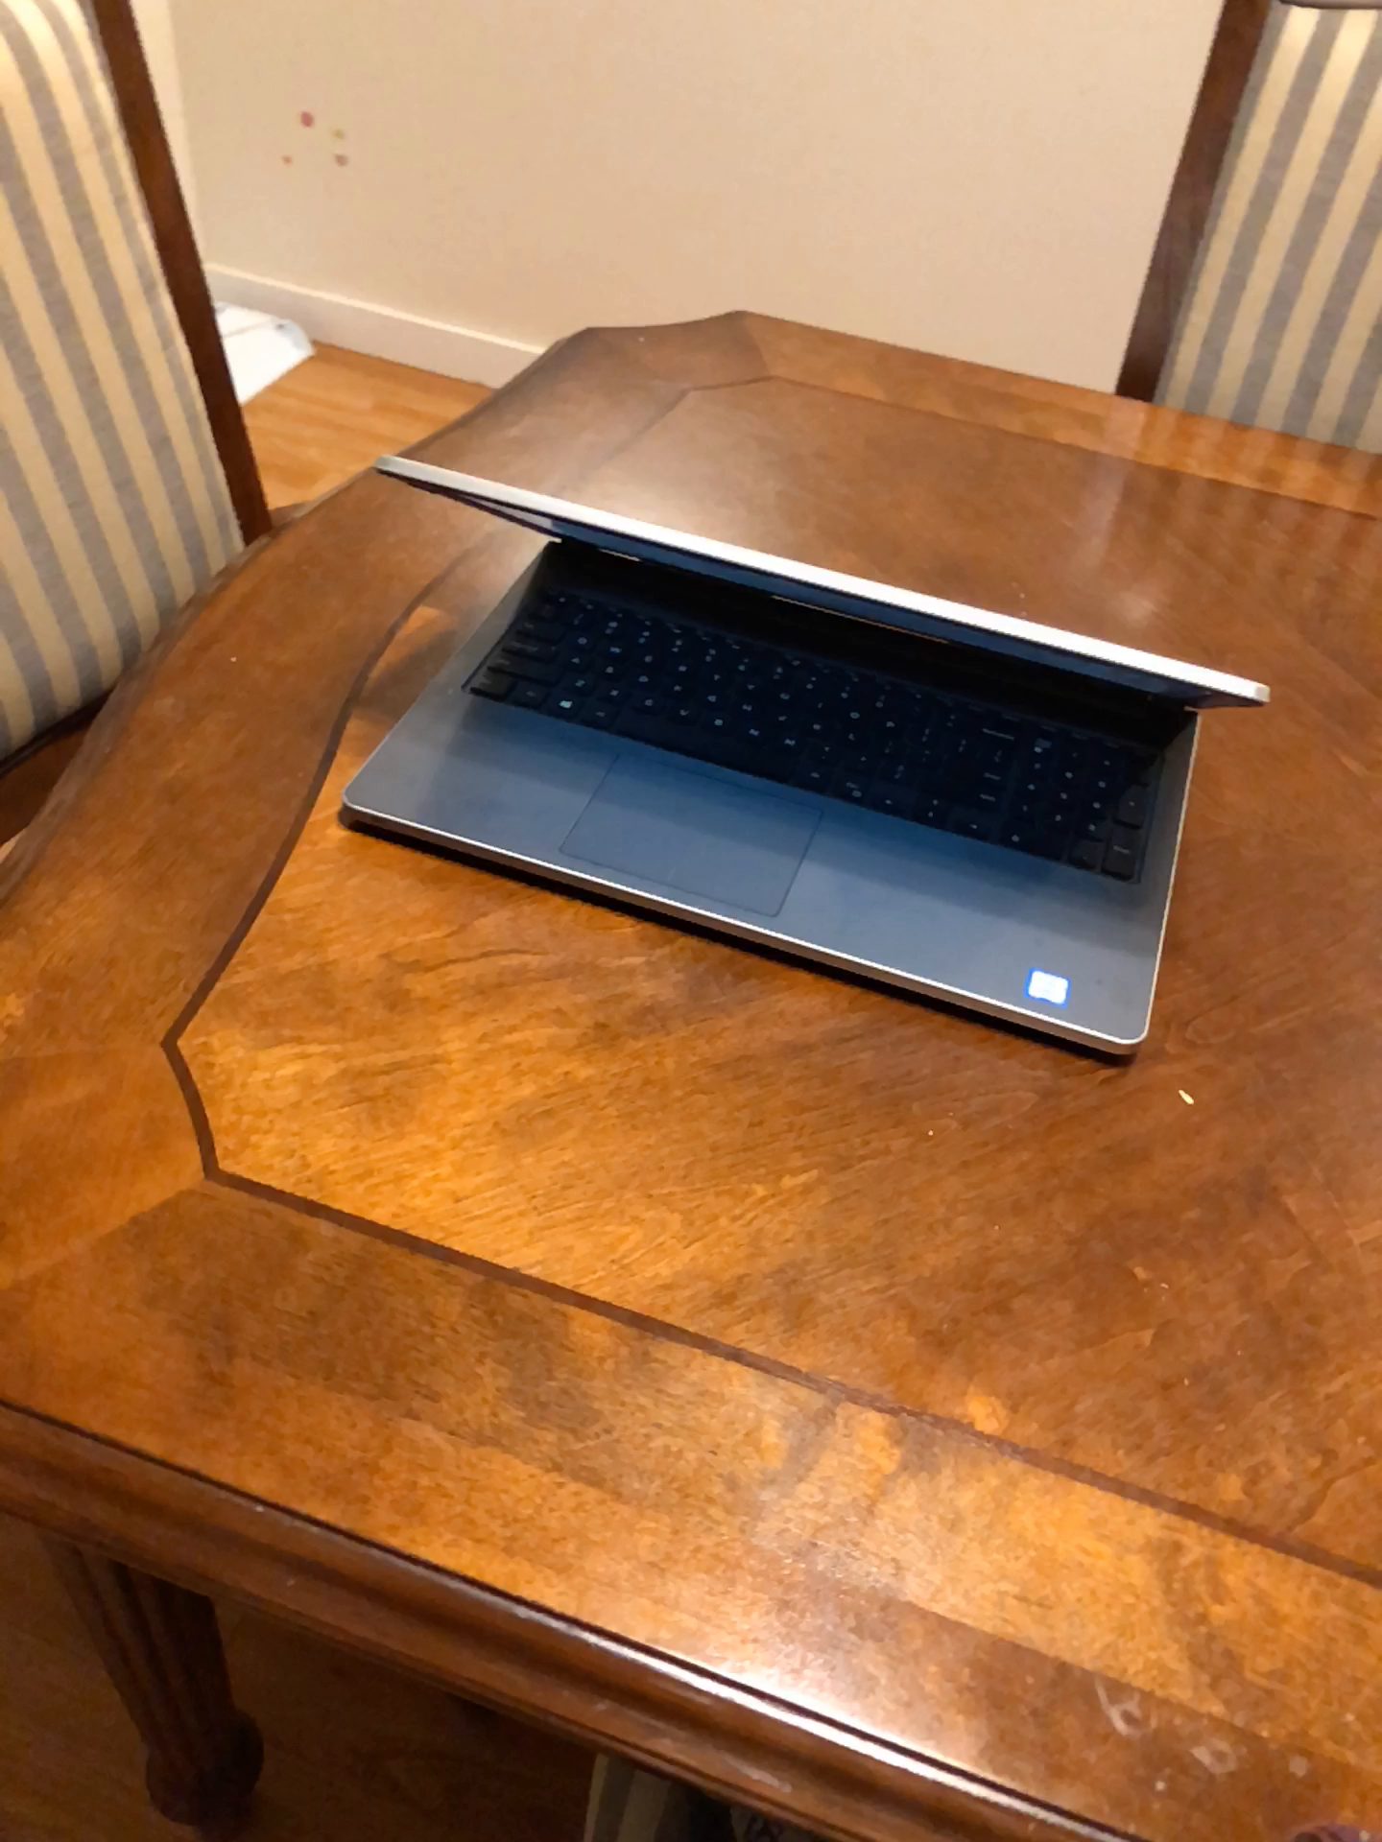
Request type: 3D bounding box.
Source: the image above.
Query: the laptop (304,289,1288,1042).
[{"bbox_3d":[0.054,-0.133,0.691,0.363,0.147,0.246,17,45,11],"label":"laptop"}]
